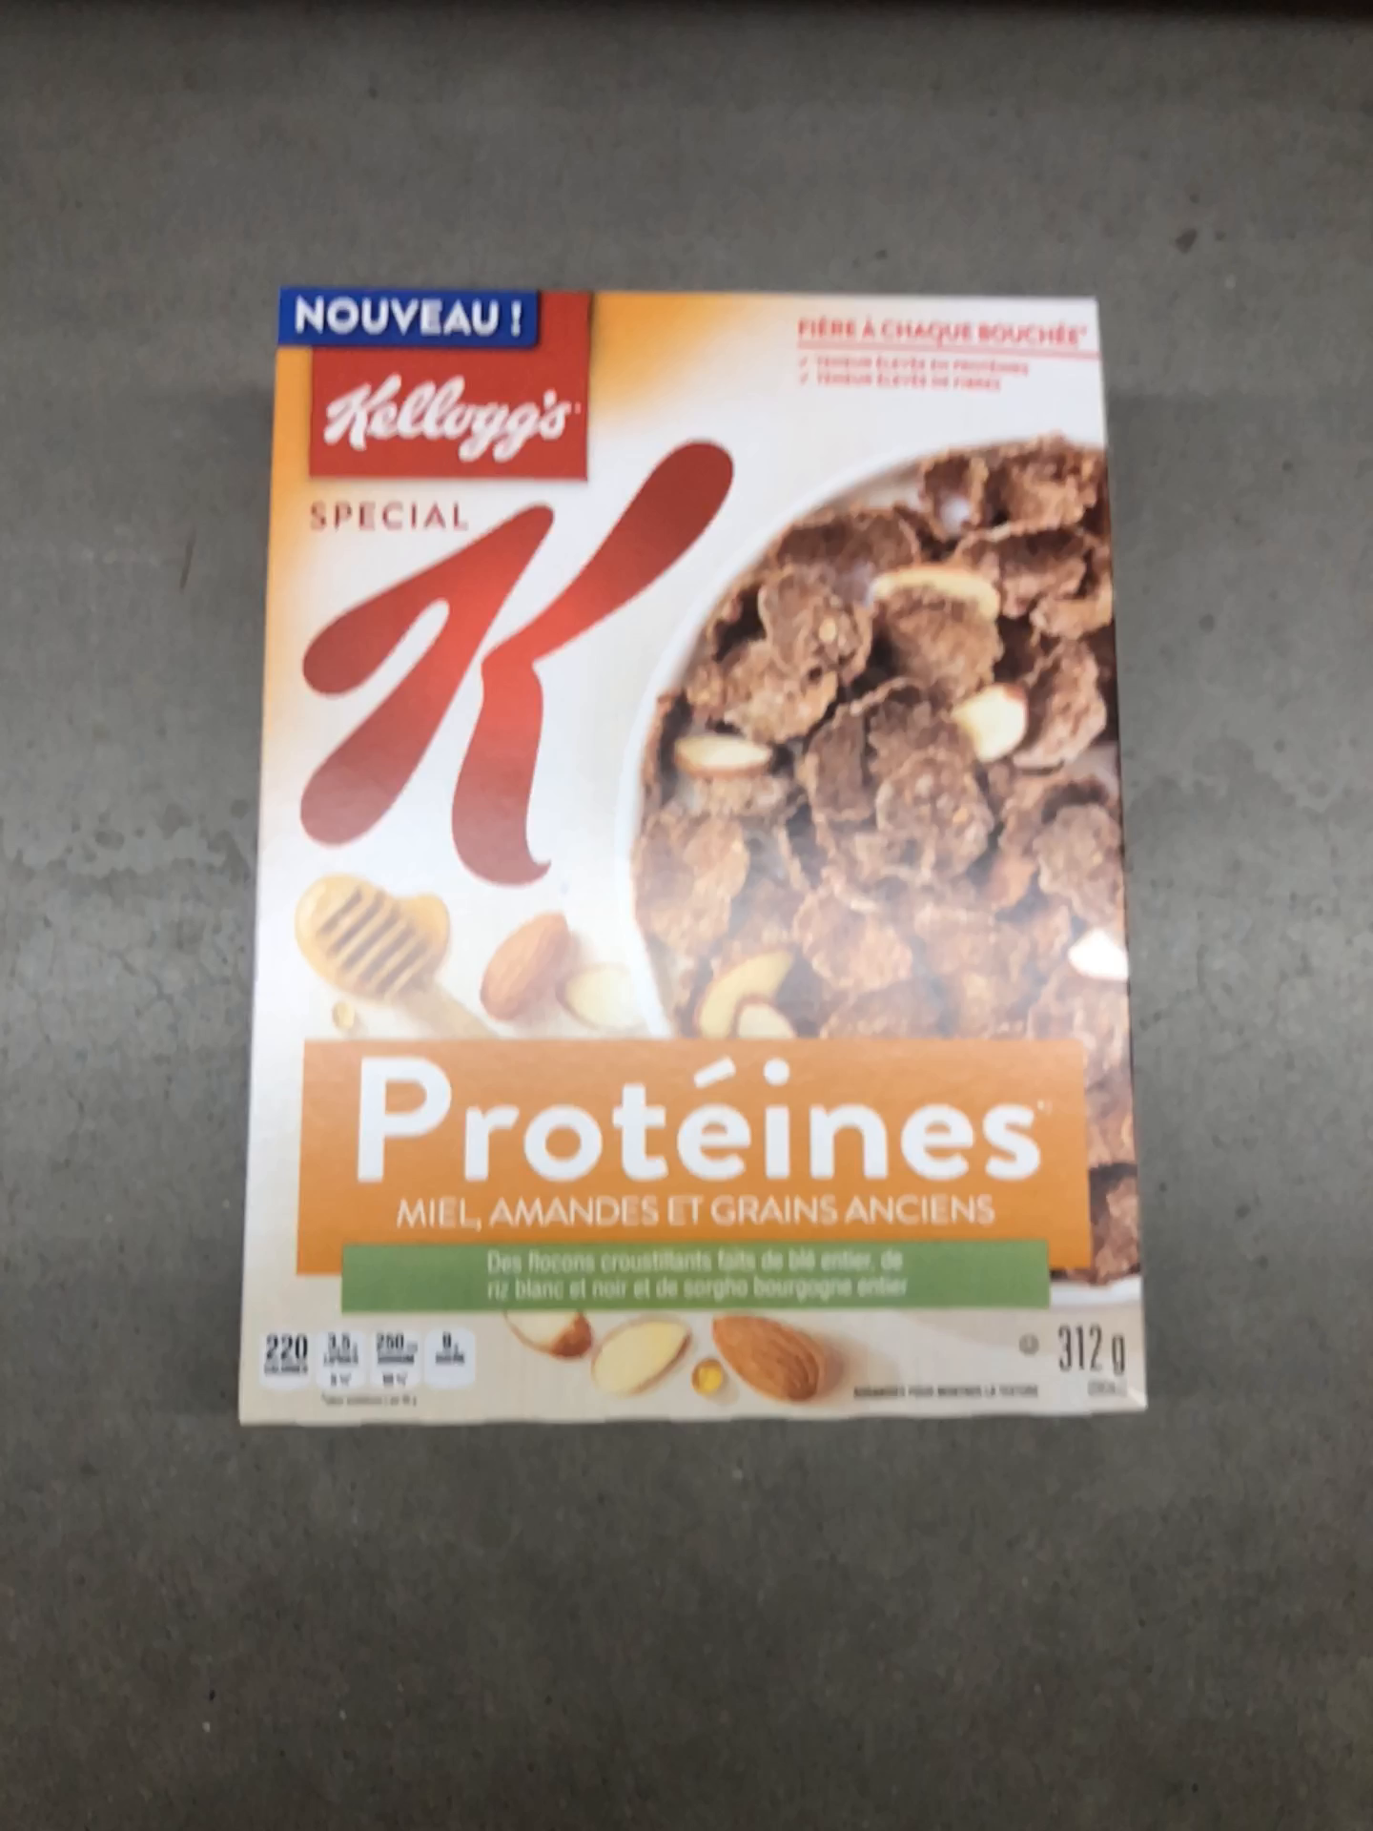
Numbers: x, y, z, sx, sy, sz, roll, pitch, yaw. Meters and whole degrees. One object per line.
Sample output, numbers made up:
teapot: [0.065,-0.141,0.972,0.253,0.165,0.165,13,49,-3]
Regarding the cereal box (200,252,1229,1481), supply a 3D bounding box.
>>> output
cereal box: [0.004,-0.014,0.336,0.200,0.050,0.250,-1,84,-2]
